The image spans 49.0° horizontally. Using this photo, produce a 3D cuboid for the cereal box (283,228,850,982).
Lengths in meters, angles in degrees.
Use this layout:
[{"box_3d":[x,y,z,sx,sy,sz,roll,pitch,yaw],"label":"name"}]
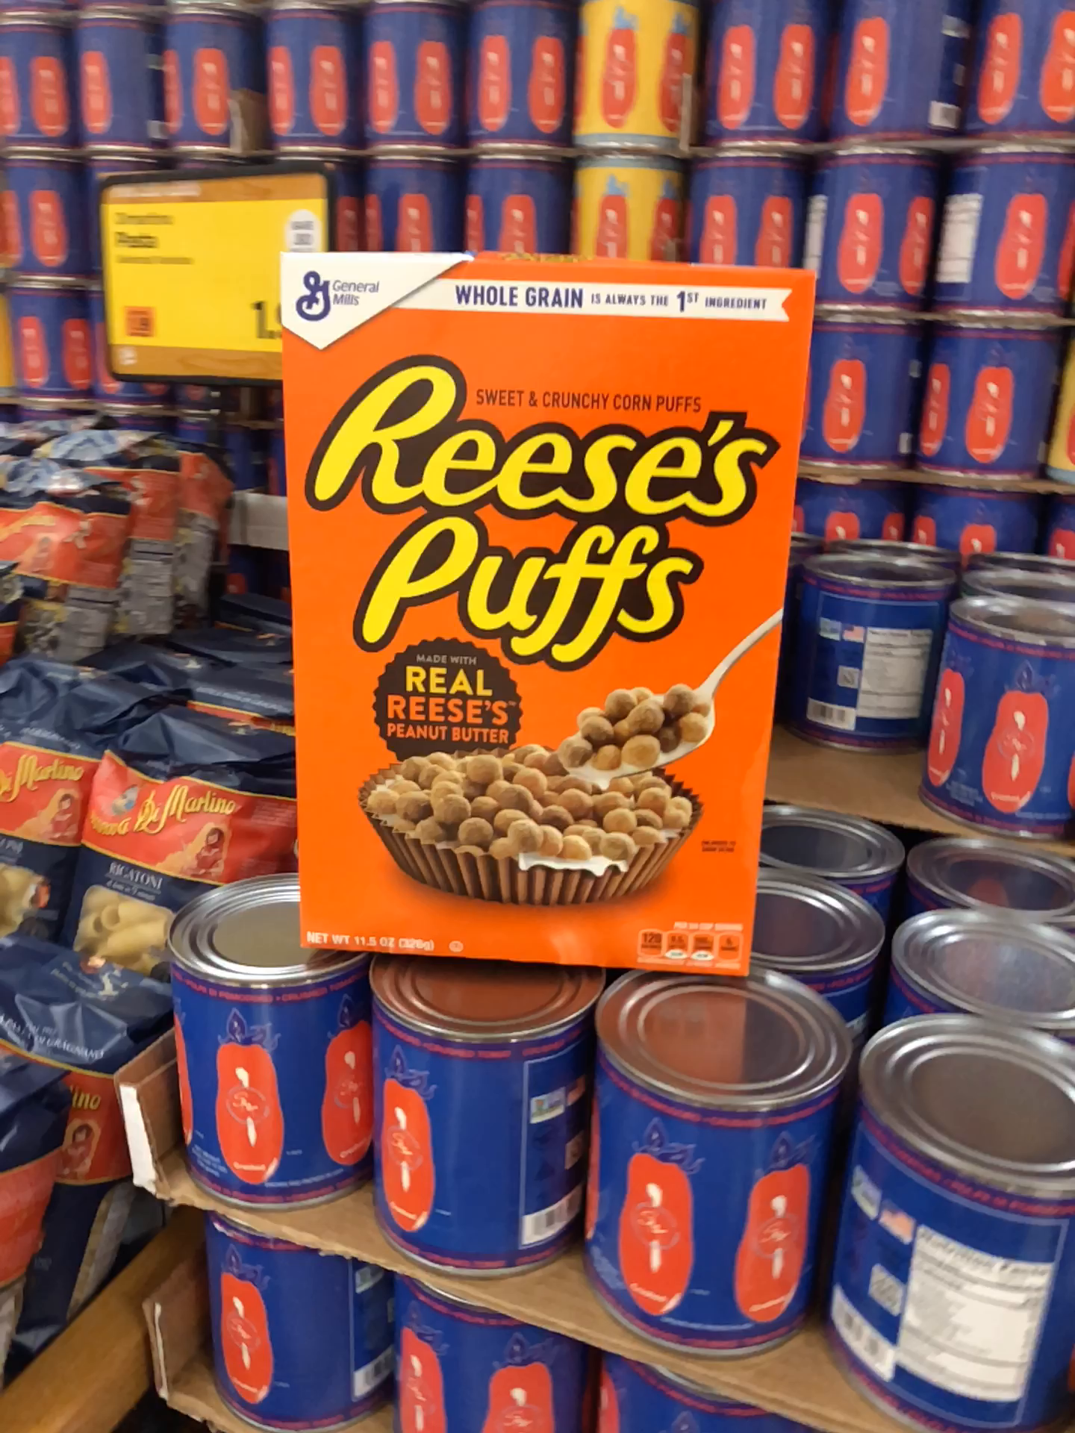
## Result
[{"box_3d":[0.006,-0.039,0.482,0.200,0.288,0.050,3,18,3],"label":"cereal box"}]
